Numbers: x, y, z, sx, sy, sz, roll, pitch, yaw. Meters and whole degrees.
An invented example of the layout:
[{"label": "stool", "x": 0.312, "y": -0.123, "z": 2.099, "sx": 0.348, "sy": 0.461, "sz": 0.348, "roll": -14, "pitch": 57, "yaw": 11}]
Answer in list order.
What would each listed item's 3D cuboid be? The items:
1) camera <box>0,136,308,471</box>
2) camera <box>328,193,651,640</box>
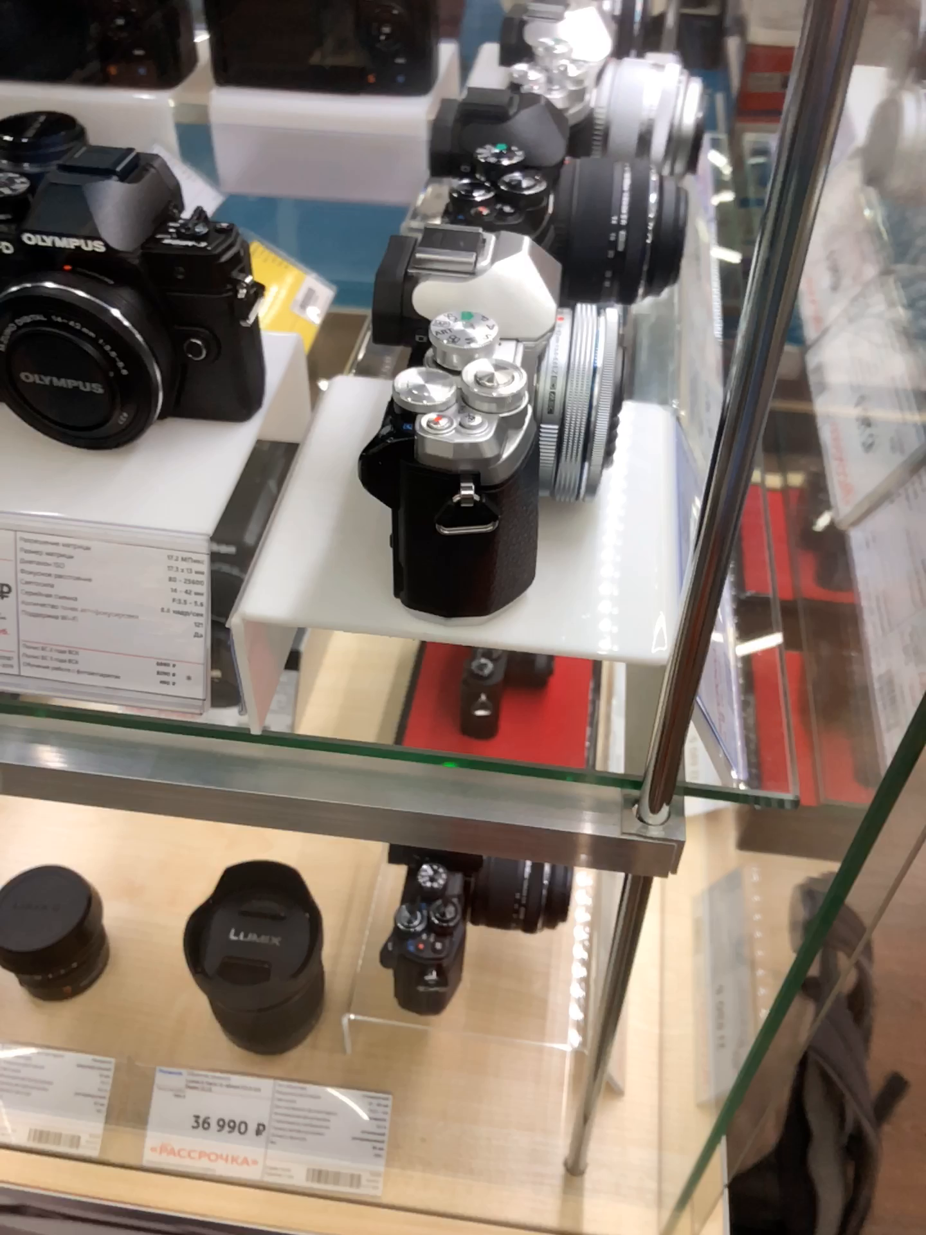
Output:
[{"label": "camera", "x": -0.116, "y": -0.103, "z": 0.332, "sx": 0.108, "sy": 0.068, "sz": 0.079, "roll": 6, "pitch": 44, "yaw": 5}, {"label": "camera", "x": 0.012, "y": -0.063, "z": 0.298, "sx": 0.073, "sy": 0.067, "sz": 0.123, "roll": 5, "pitch": 44, "yaw": 4}]
